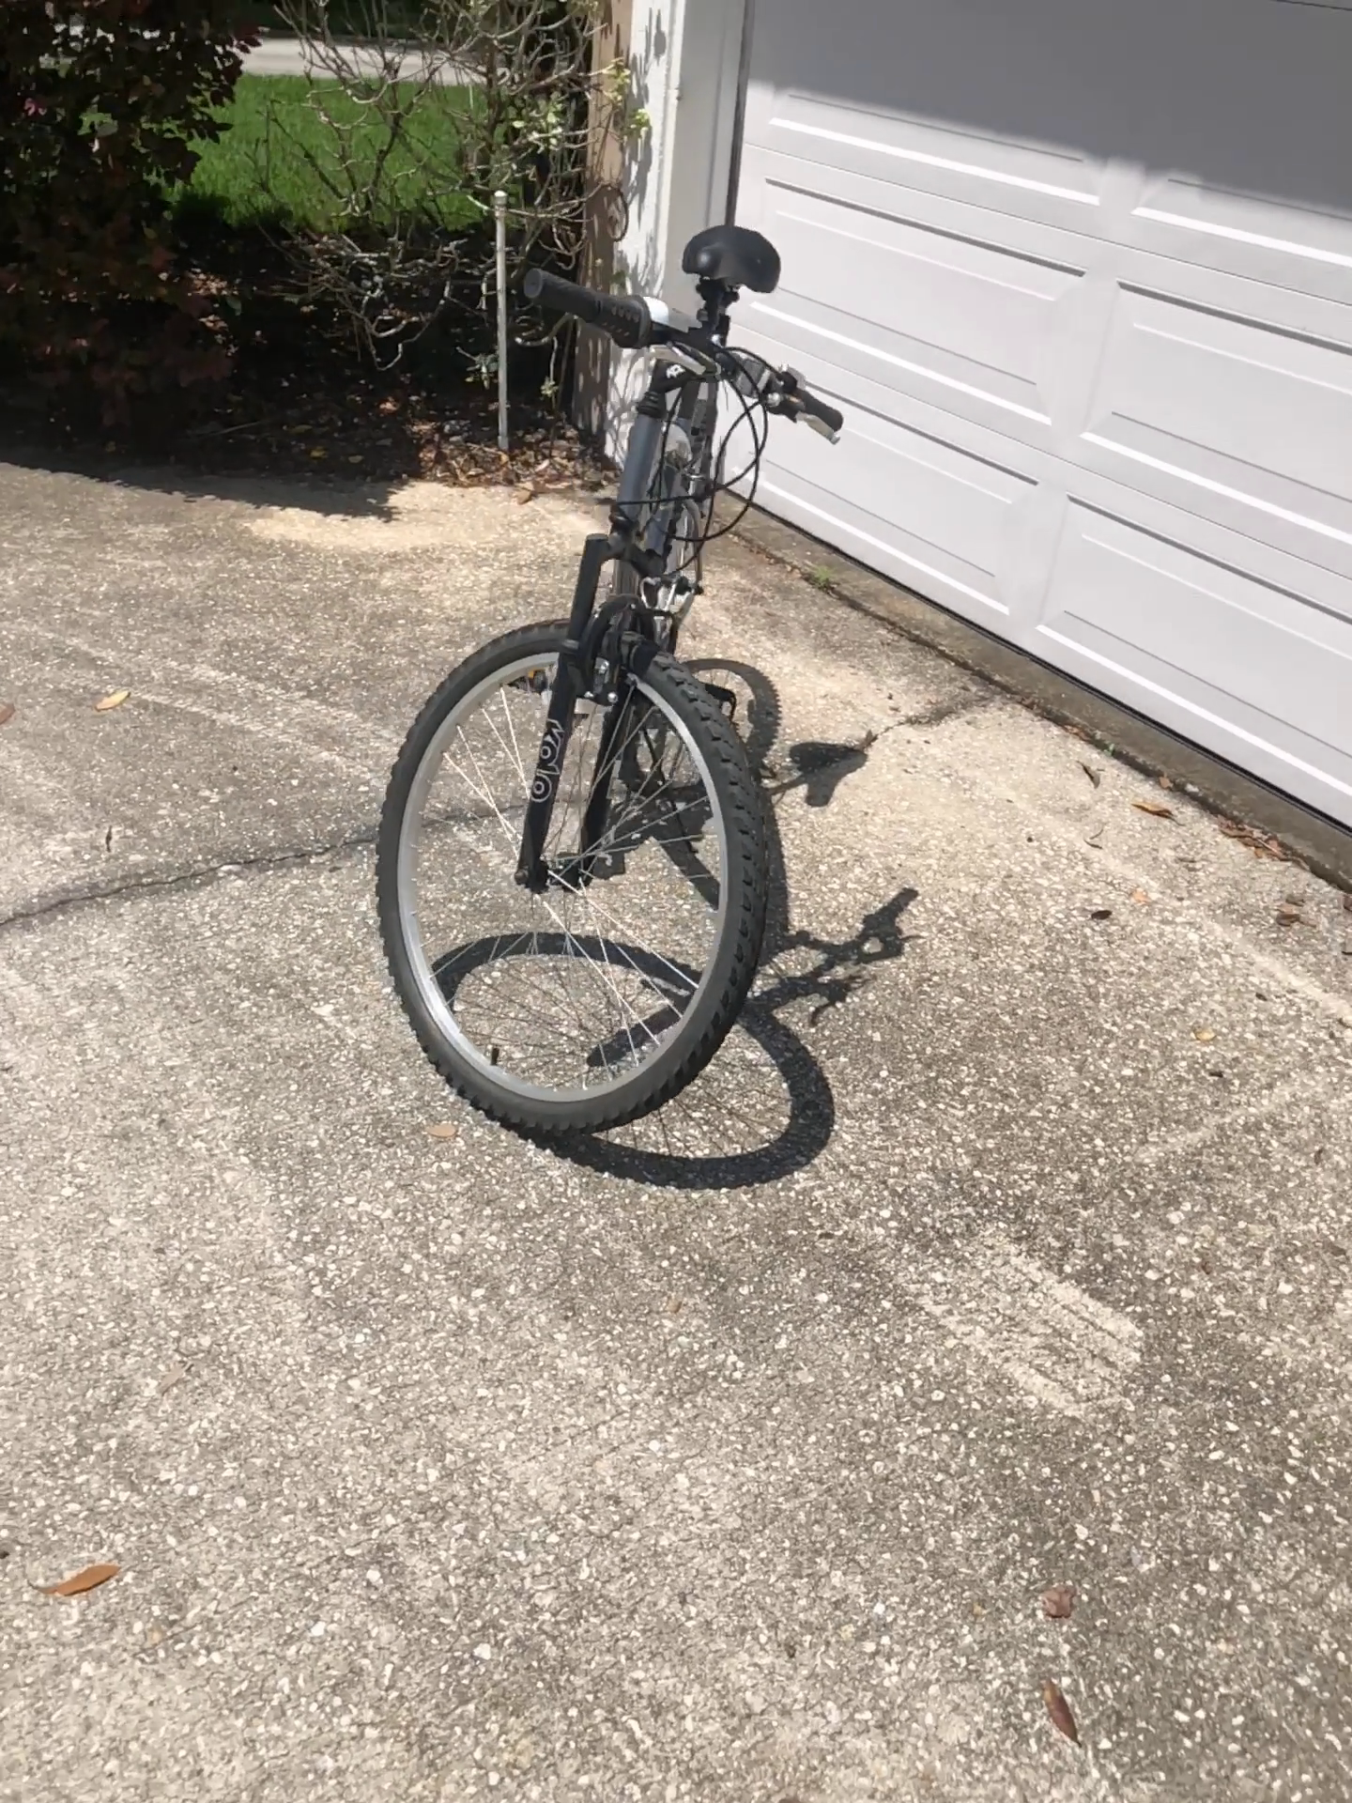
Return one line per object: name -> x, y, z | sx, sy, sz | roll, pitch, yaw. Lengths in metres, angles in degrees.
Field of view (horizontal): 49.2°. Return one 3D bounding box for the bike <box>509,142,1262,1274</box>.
bike -> 0.115, -0.447, 2.286 | 0.679, 0.979, 1.541 | 3, 35, -4
